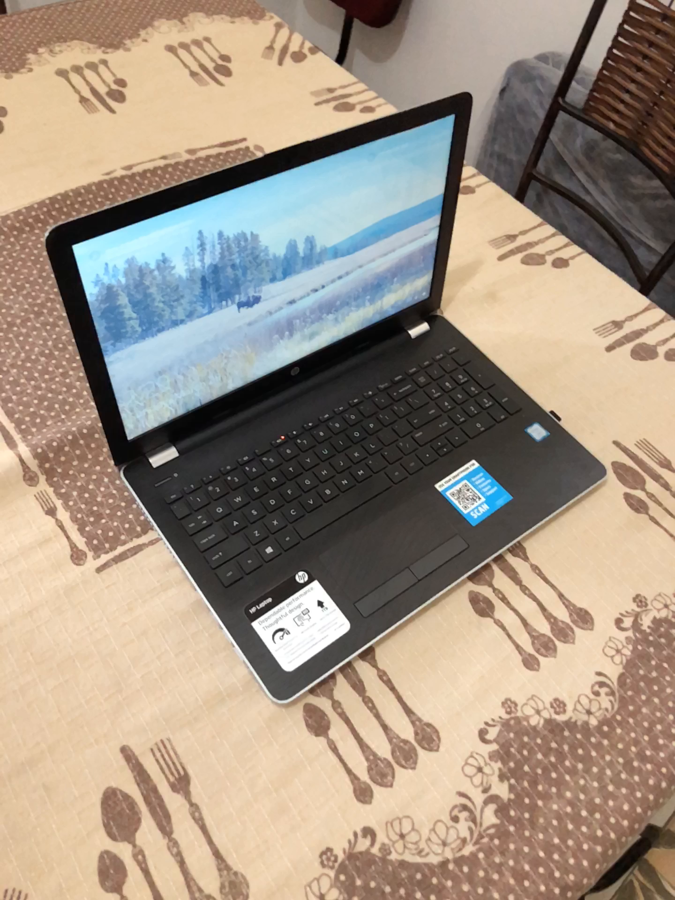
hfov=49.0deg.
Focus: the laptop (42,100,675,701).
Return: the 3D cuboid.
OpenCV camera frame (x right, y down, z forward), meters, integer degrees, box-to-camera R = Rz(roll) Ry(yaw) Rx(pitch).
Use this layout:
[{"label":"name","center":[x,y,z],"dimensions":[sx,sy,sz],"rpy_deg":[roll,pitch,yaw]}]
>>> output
[{"label":"laptop","center":[0.032,-0.055,0.566],"dimensions":[0.361,0.226,0.268],"rpy_deg":[-29,61,-25]}]
